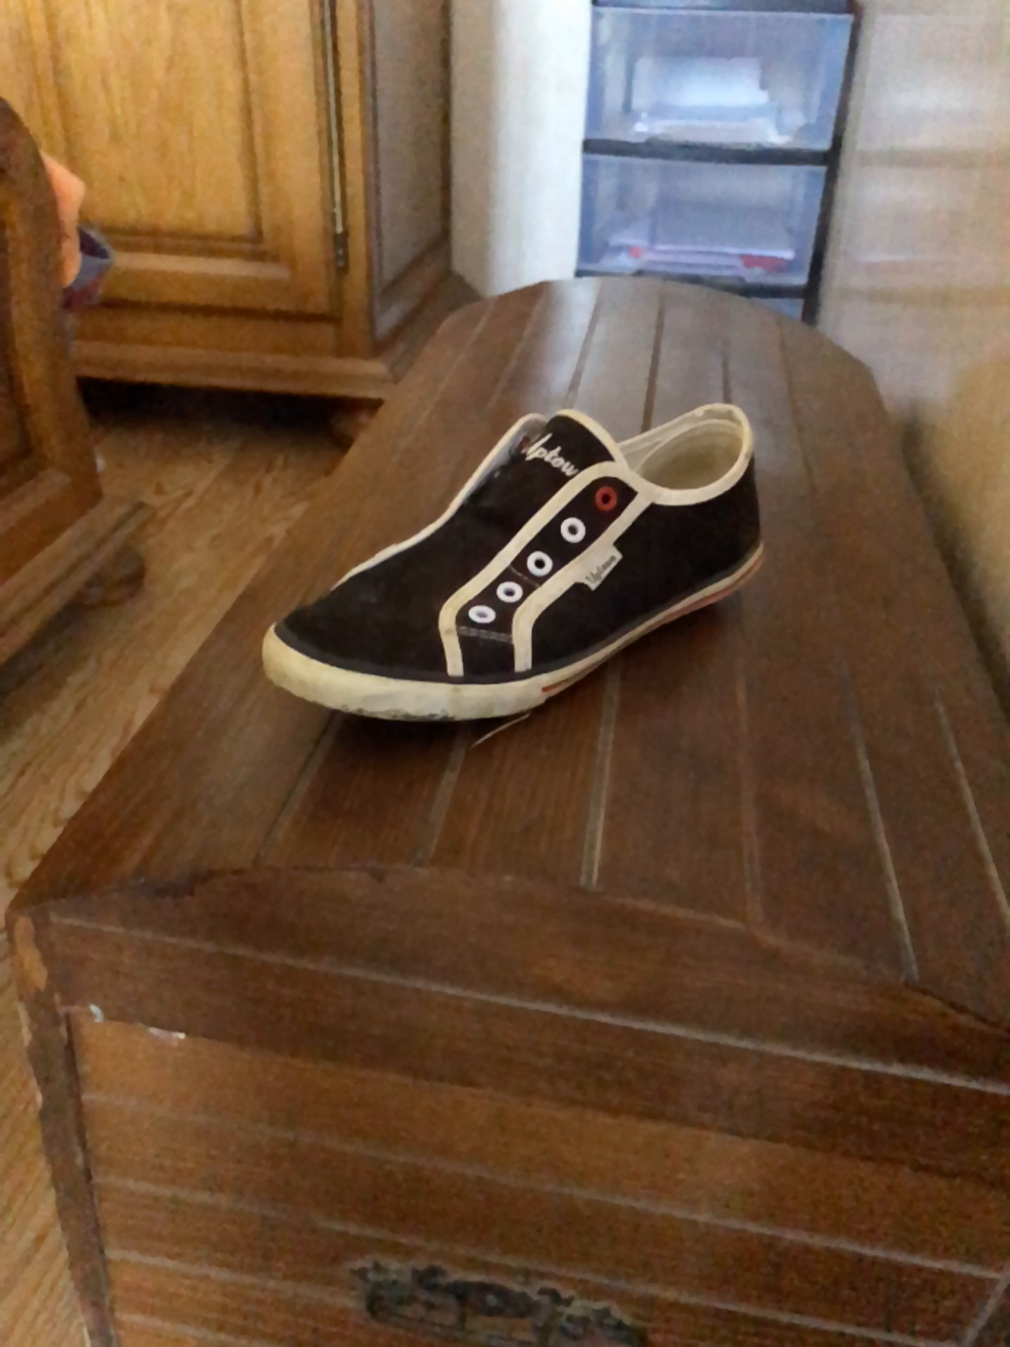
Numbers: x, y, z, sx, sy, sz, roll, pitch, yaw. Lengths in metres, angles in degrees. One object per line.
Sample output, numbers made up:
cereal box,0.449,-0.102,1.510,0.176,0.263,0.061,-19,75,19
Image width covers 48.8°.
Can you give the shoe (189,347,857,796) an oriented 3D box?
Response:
shoe,0.016,-0.055,0.435,0.241,0.080,0.100,-23,39,-33
